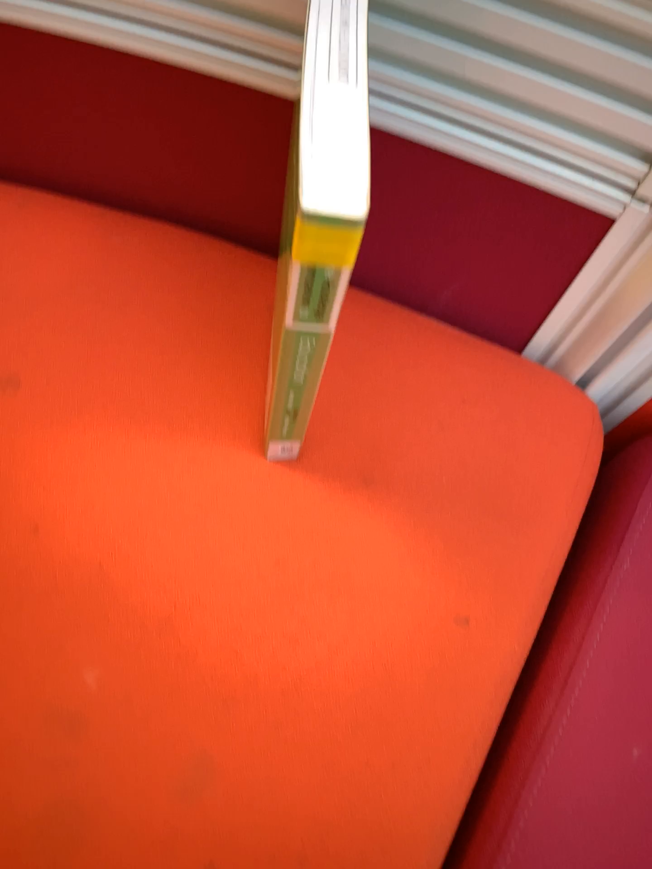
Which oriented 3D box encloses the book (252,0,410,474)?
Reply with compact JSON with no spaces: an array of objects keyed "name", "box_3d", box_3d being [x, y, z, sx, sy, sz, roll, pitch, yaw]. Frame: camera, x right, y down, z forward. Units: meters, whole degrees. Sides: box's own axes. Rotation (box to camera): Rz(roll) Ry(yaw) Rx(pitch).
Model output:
[{"name":"book","box_3d":[-0.007,-0.117,0.389,0.040,0.269,0.201,7,67,-6]}]
